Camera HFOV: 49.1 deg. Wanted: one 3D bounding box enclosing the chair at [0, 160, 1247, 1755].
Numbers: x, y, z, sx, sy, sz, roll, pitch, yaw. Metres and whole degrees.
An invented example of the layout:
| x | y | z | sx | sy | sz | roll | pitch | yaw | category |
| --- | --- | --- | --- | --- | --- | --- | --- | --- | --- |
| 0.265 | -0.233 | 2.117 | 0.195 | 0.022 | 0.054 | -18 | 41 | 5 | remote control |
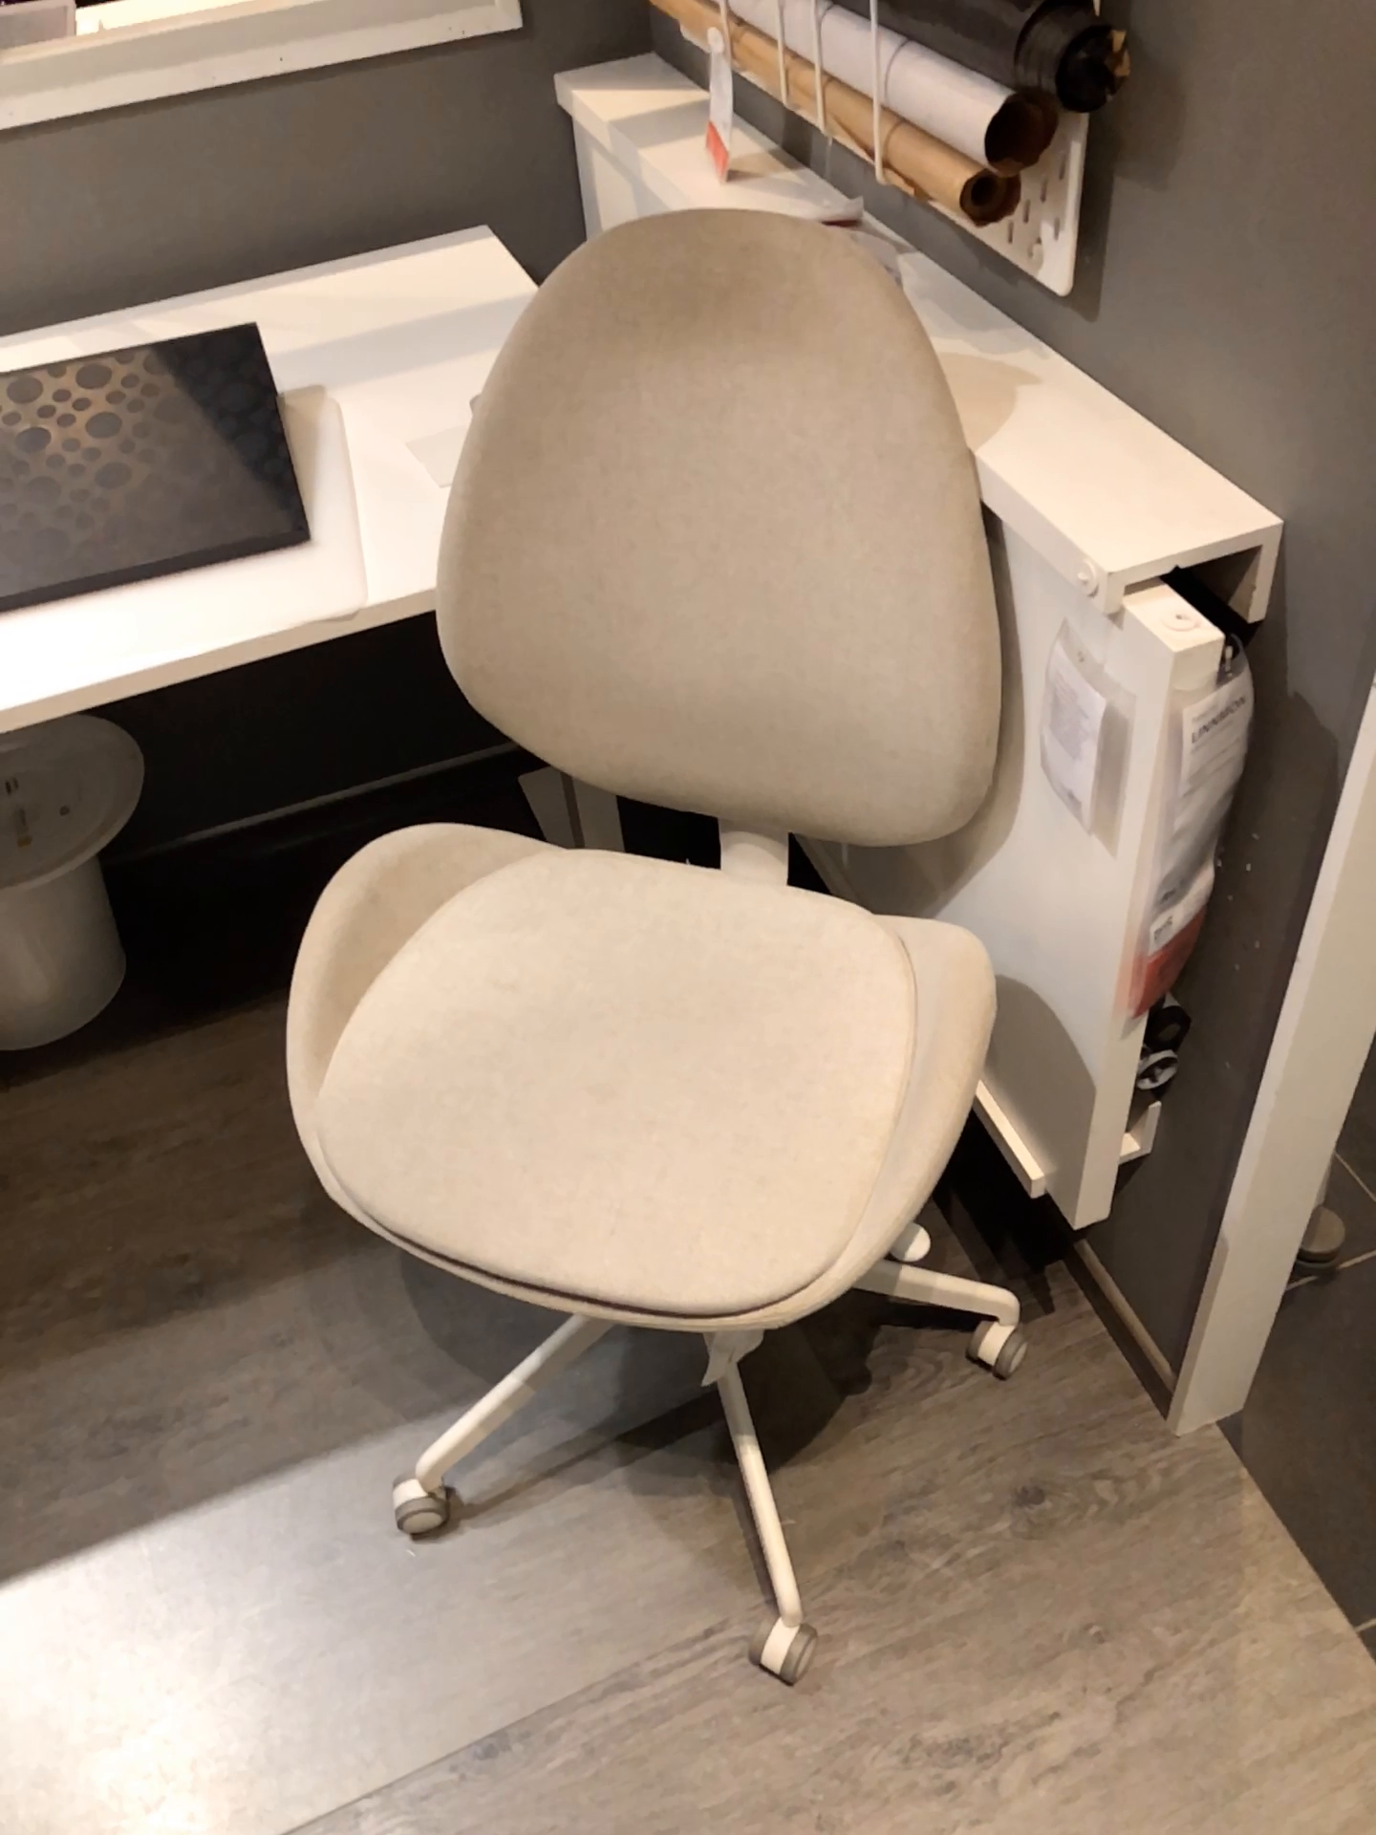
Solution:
| x | y | z | sx | sy | sz | roll | pitch | yaw | category |
| --- | --- | --- | --- | --- | --- | --- | --- | --- | --- |
| -0.034 | 0.036 | 1.218 | 0.681 | 0.964 | 0.683 | 13 | 48 | 19 | chair |
